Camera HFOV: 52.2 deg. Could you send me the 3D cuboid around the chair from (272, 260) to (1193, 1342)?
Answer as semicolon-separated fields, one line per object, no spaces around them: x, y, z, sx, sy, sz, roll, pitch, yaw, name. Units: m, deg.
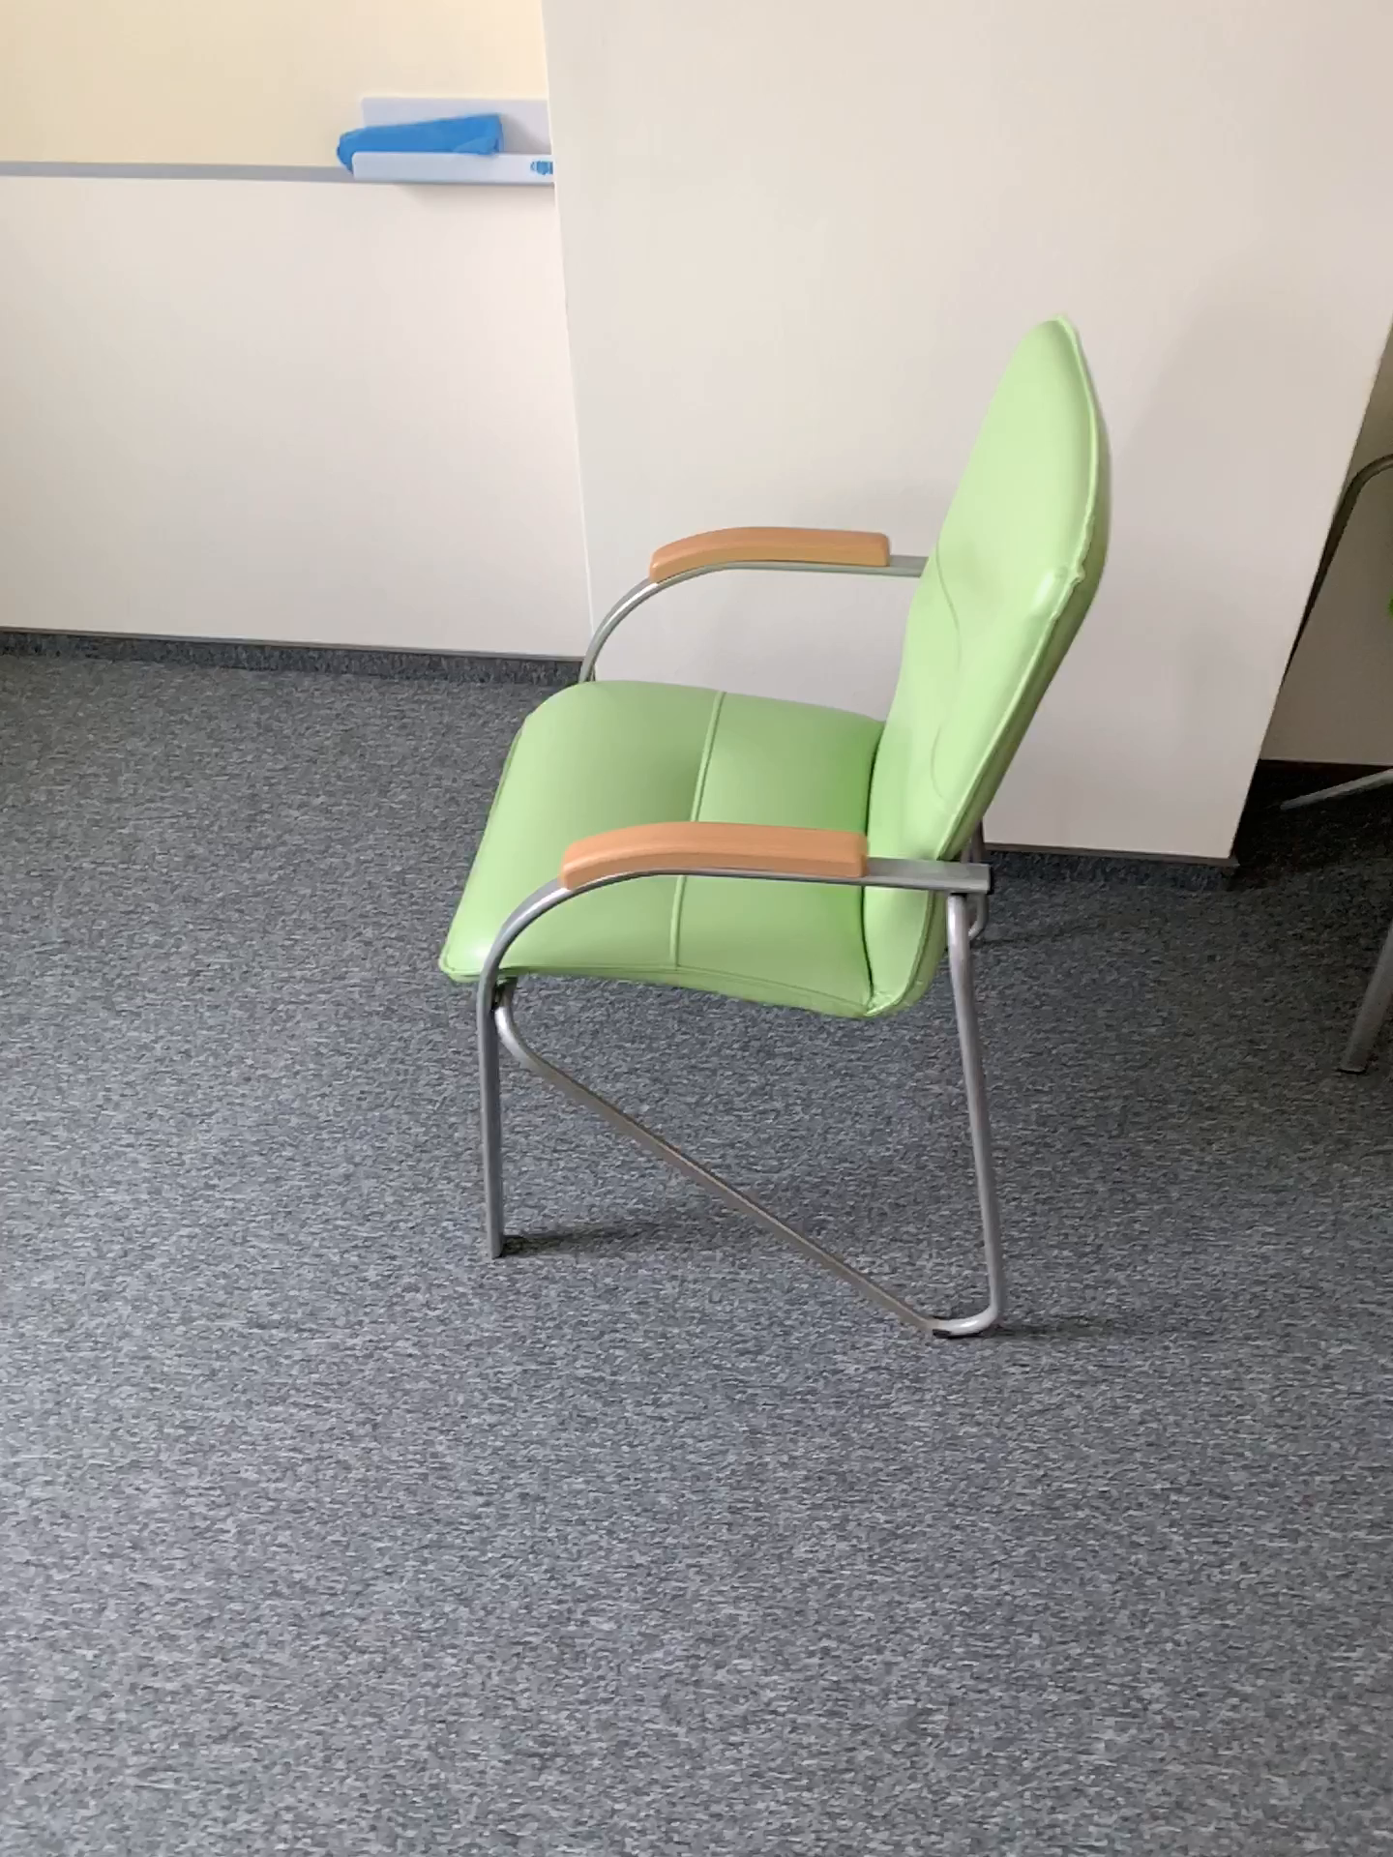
0.064;-0.117;1.473;0.620;0.875;0.623;5;44;7;chair
